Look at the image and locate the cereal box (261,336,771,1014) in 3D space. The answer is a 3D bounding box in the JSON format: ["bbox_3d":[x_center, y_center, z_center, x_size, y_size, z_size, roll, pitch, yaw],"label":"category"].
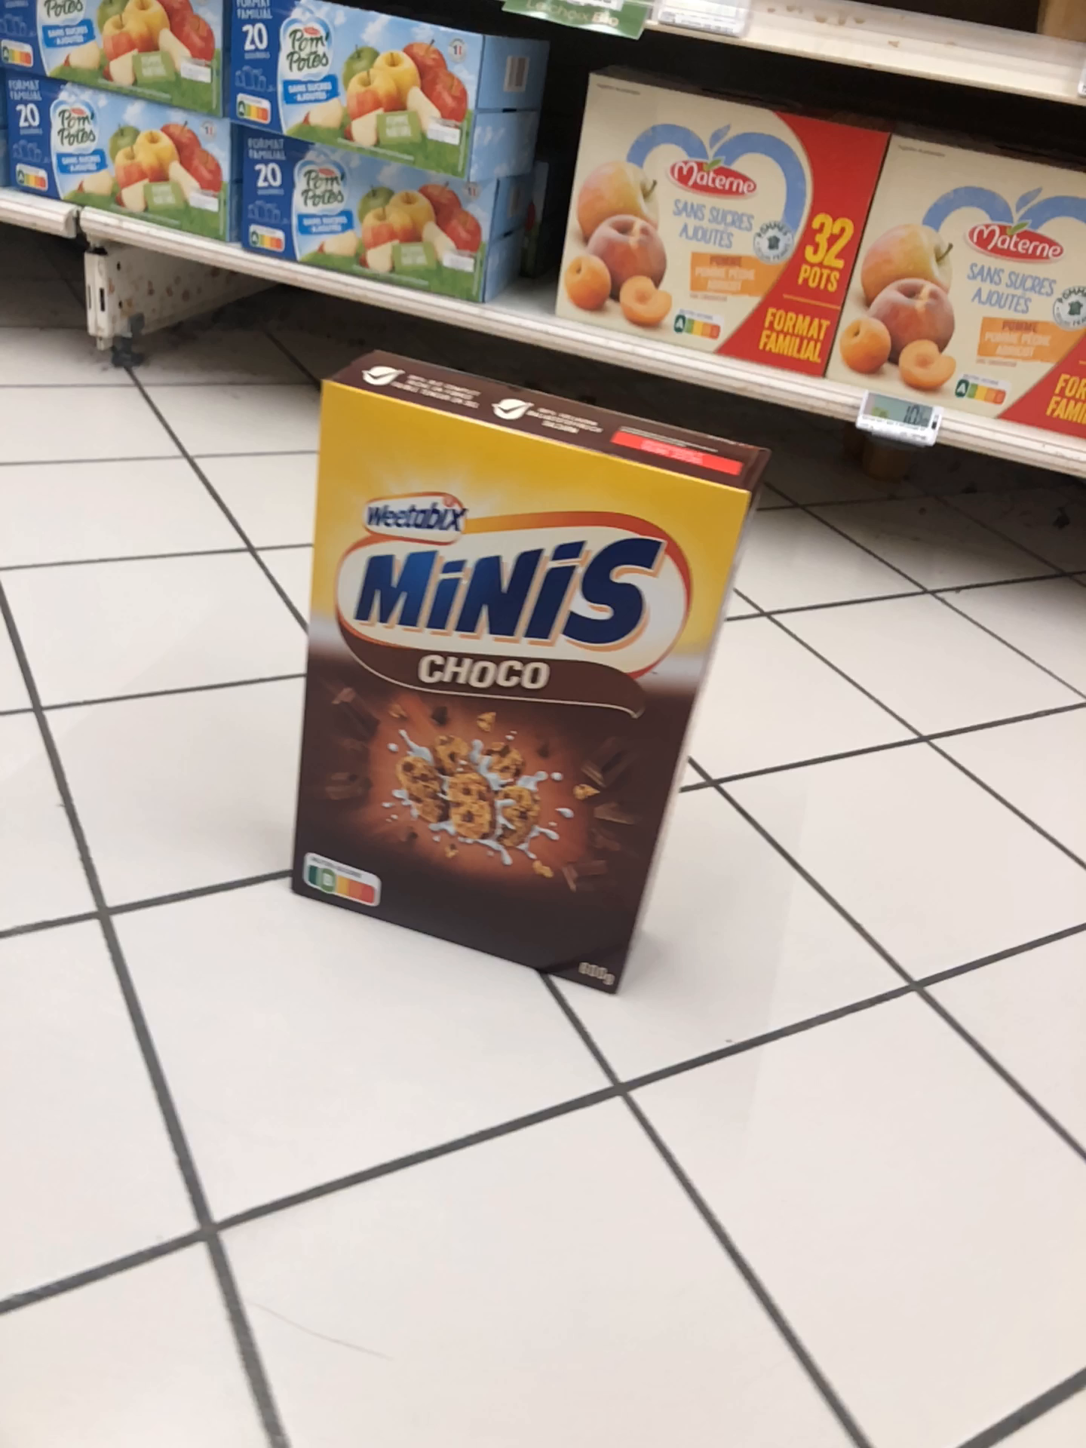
[{"bbox_3d":[-0.026,-0.017,0.595,0.200,0.288,0.081,16,32,9],"label":"cereal box"}]
